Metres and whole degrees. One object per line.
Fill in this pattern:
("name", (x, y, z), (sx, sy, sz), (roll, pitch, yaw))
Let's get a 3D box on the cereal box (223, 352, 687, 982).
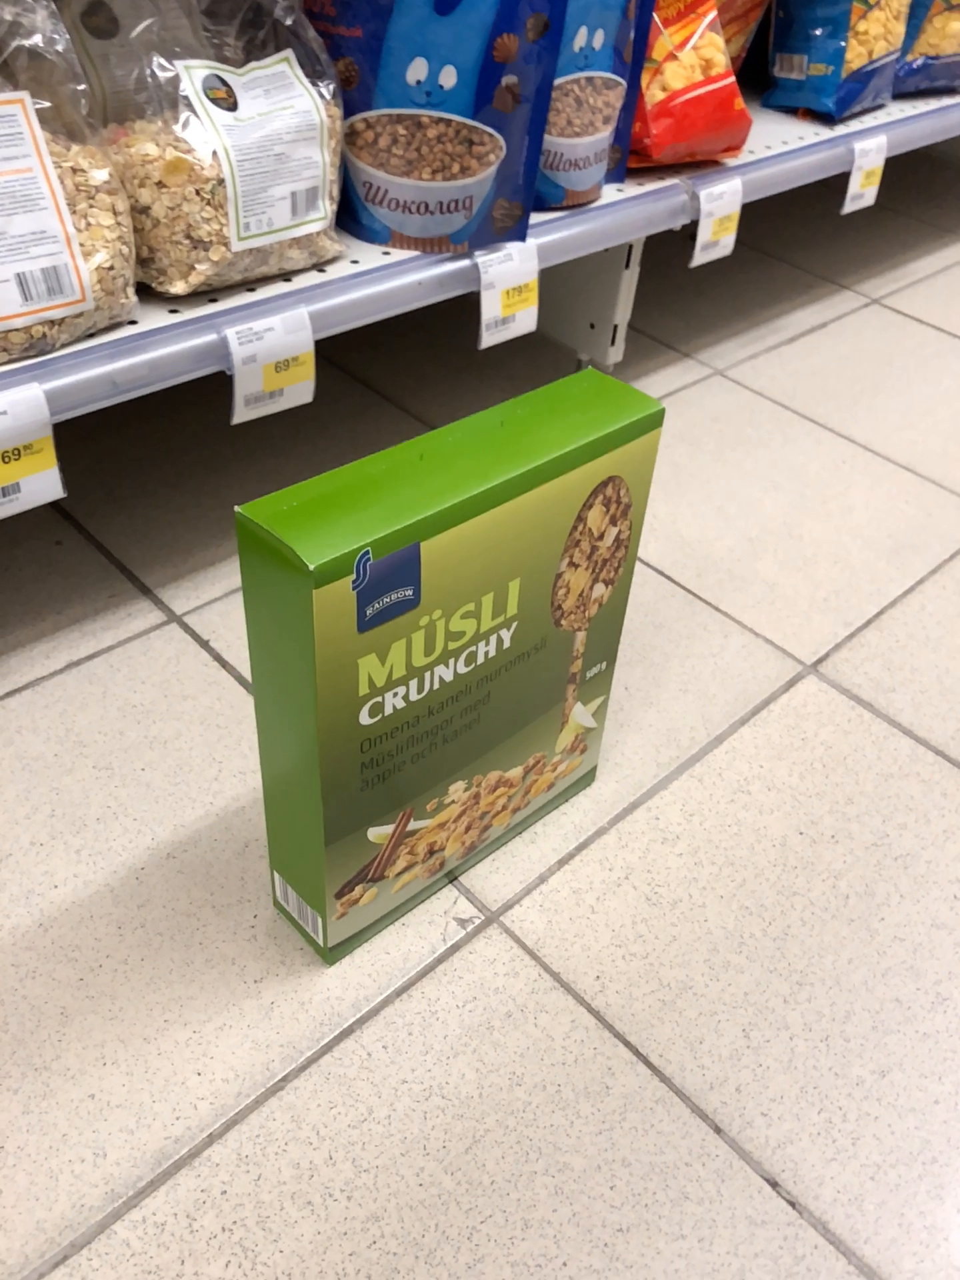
("cereal box", (-0.009, 0.016, 0.495), (0.201, 0.249, 0.050), (-29, 51, -34))
